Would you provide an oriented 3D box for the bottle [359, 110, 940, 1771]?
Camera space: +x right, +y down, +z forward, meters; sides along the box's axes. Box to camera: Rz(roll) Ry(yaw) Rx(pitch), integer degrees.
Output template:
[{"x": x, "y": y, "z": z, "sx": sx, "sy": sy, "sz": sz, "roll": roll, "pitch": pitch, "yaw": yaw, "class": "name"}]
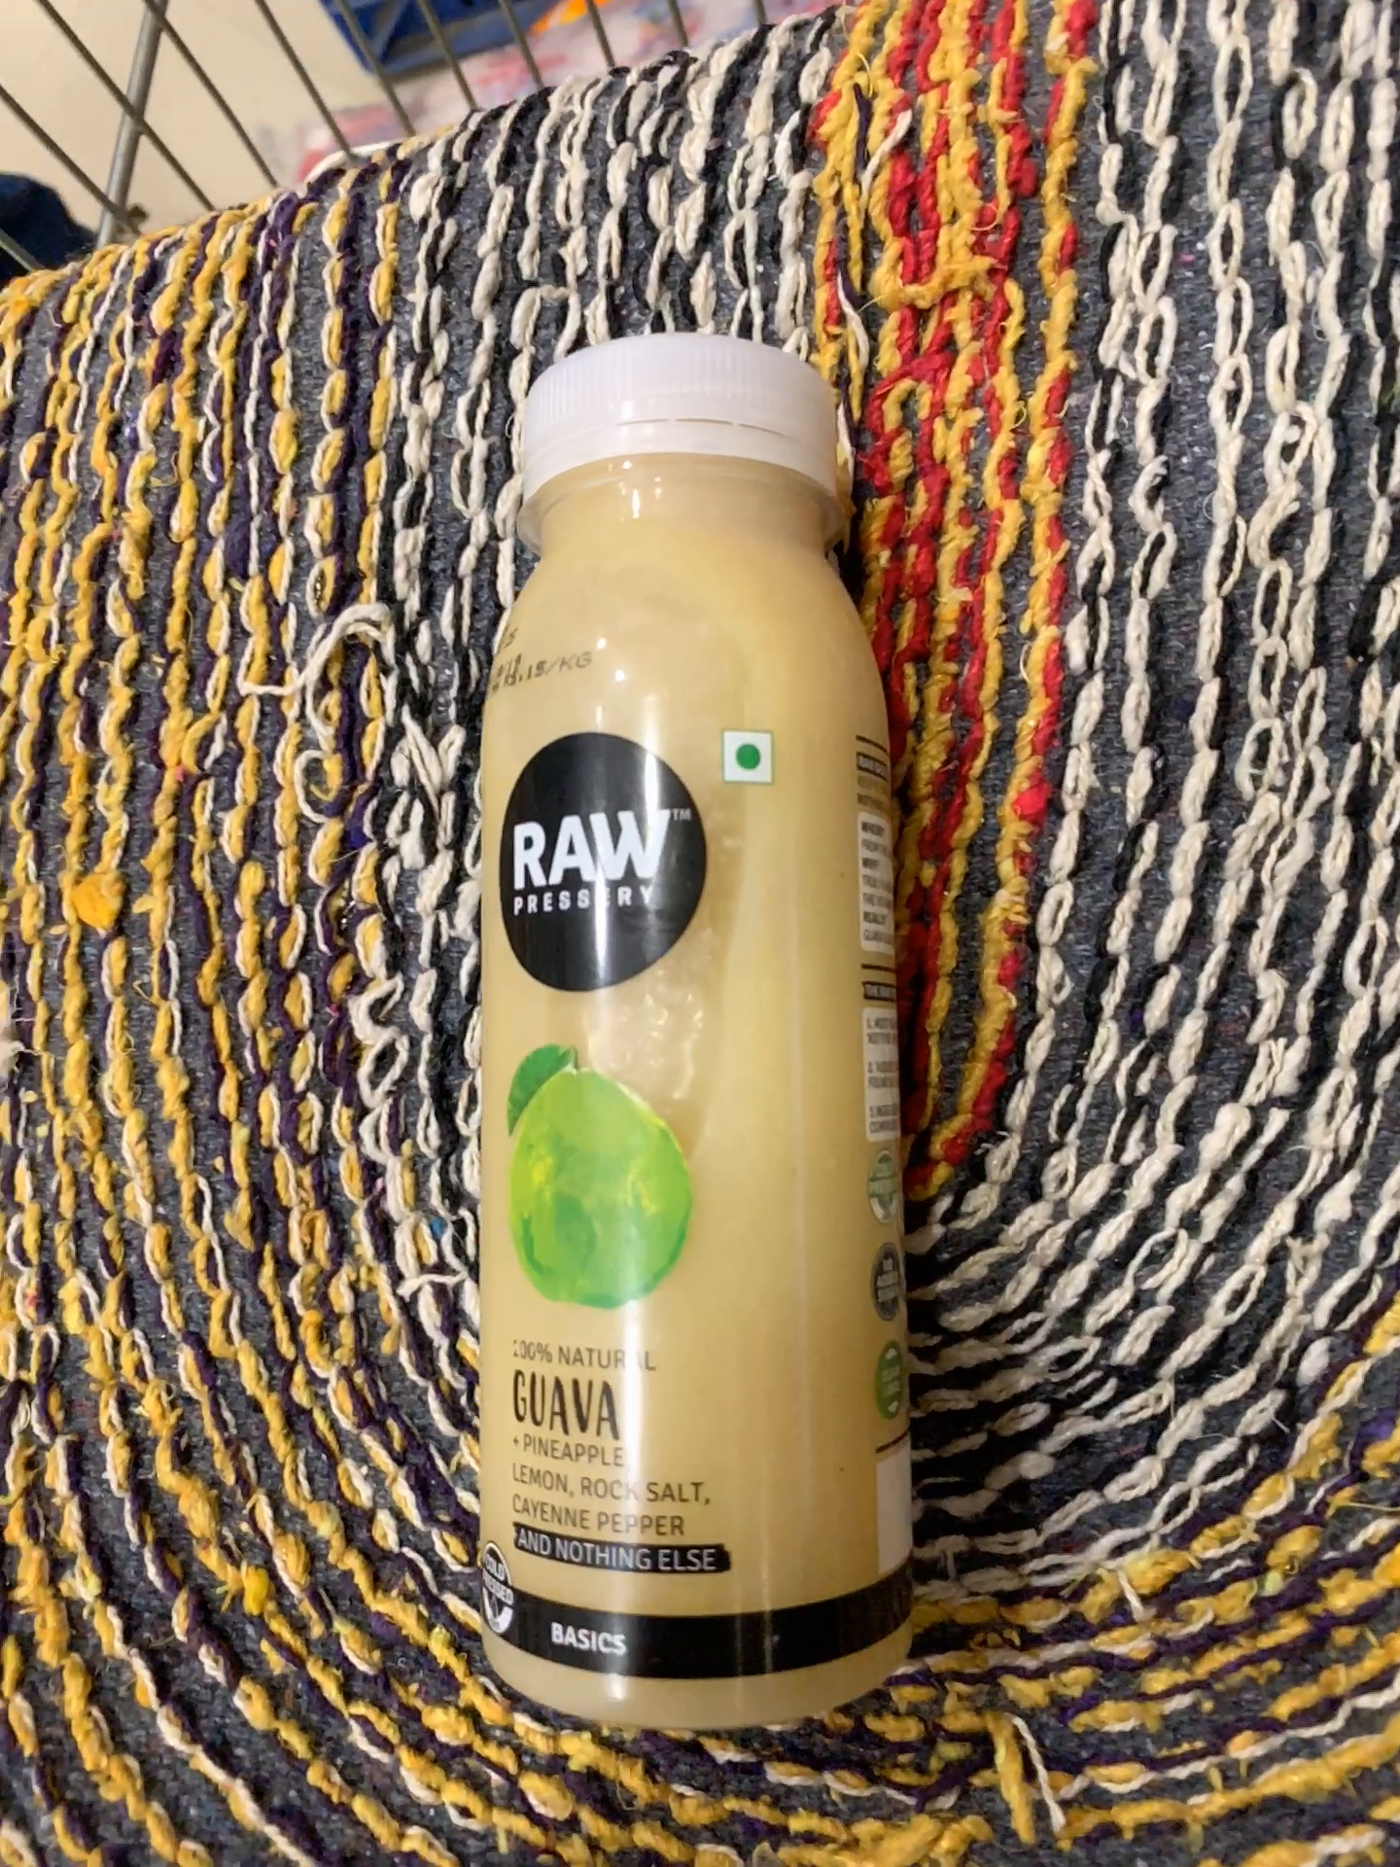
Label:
[{"x": -0.005, "y": -0.001, "z": 0.167, "sx": 0.050, "sy": 0.040, "sz": 0.160, "roll": -4, "pitch": 82, "yaw": 23, "class": "bottle"}]
